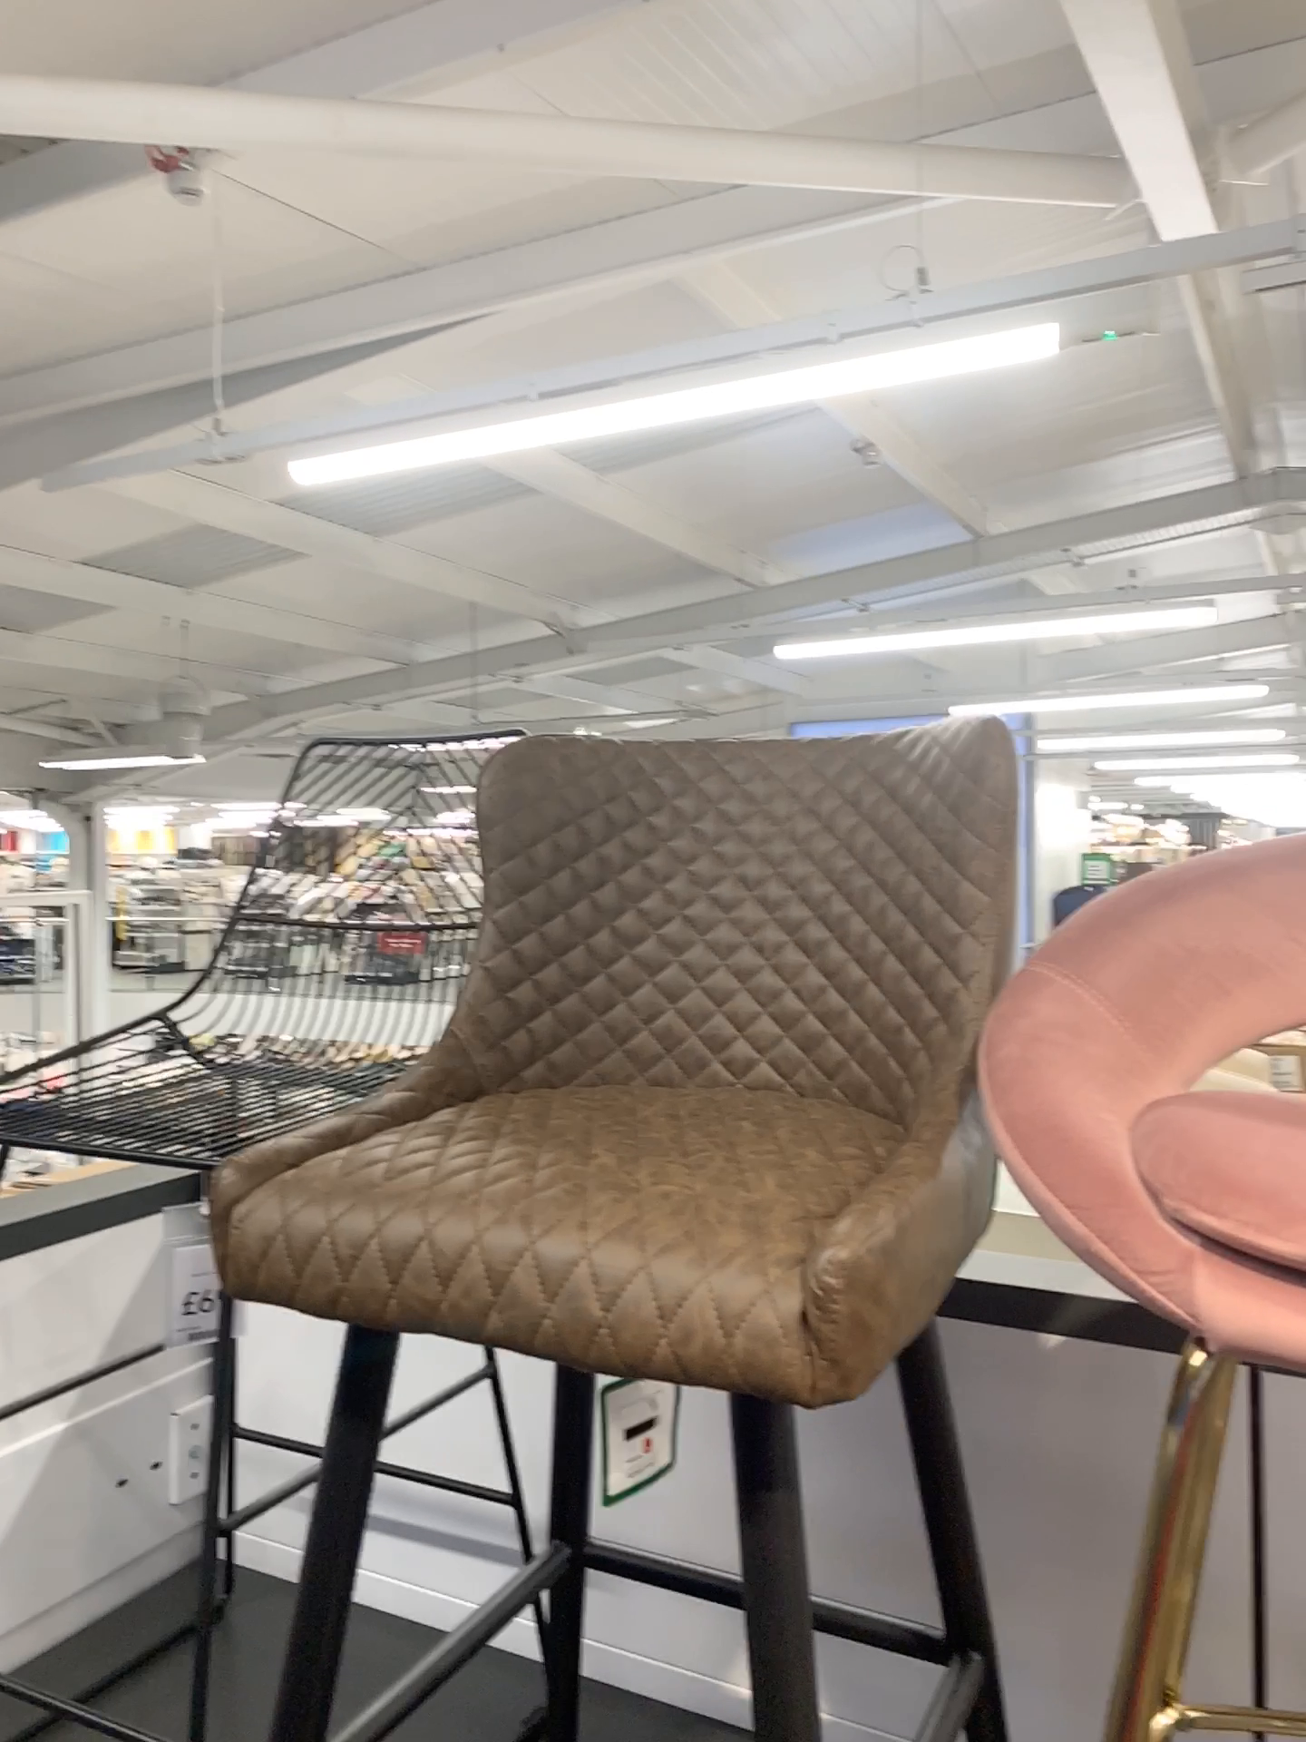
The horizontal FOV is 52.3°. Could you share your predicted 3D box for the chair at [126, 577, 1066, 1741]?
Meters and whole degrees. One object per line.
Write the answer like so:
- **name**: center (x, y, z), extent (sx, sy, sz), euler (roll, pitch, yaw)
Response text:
- **chair**: center (0.006, 0.335, 0.995), extent (0.535, 0.995, 0.466), euler (0, 3, 21)
